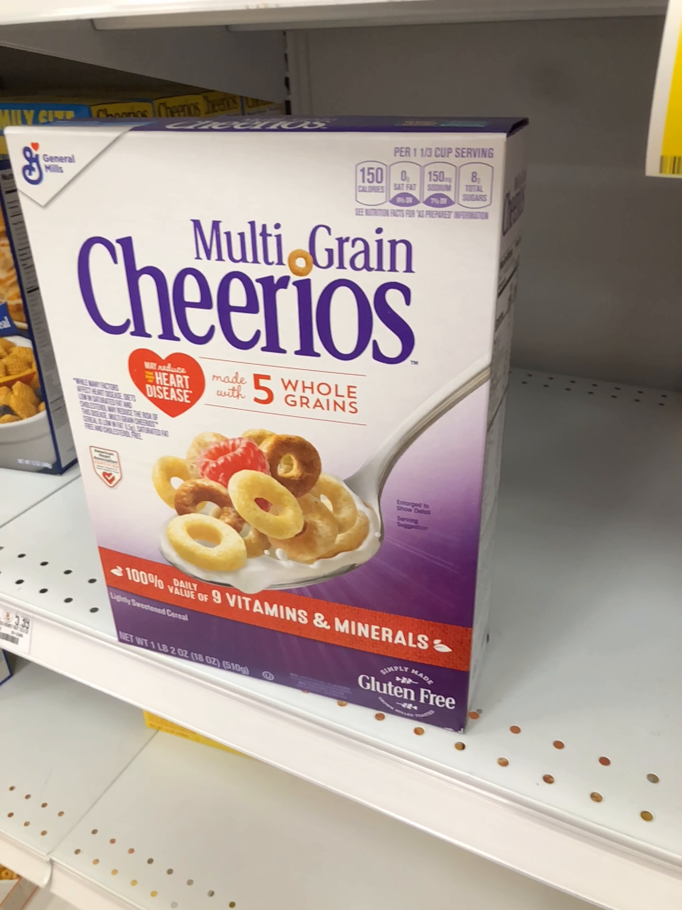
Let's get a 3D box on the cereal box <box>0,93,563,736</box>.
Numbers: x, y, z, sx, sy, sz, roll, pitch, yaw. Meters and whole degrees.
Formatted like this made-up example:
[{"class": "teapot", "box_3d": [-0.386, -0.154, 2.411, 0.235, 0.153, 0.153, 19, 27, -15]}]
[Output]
[{"class": "cereal box", "box_3d": [-0.029, -0.017, 0.427, 0.260, 0.329, 0.070, 8, 30, 19]}]
